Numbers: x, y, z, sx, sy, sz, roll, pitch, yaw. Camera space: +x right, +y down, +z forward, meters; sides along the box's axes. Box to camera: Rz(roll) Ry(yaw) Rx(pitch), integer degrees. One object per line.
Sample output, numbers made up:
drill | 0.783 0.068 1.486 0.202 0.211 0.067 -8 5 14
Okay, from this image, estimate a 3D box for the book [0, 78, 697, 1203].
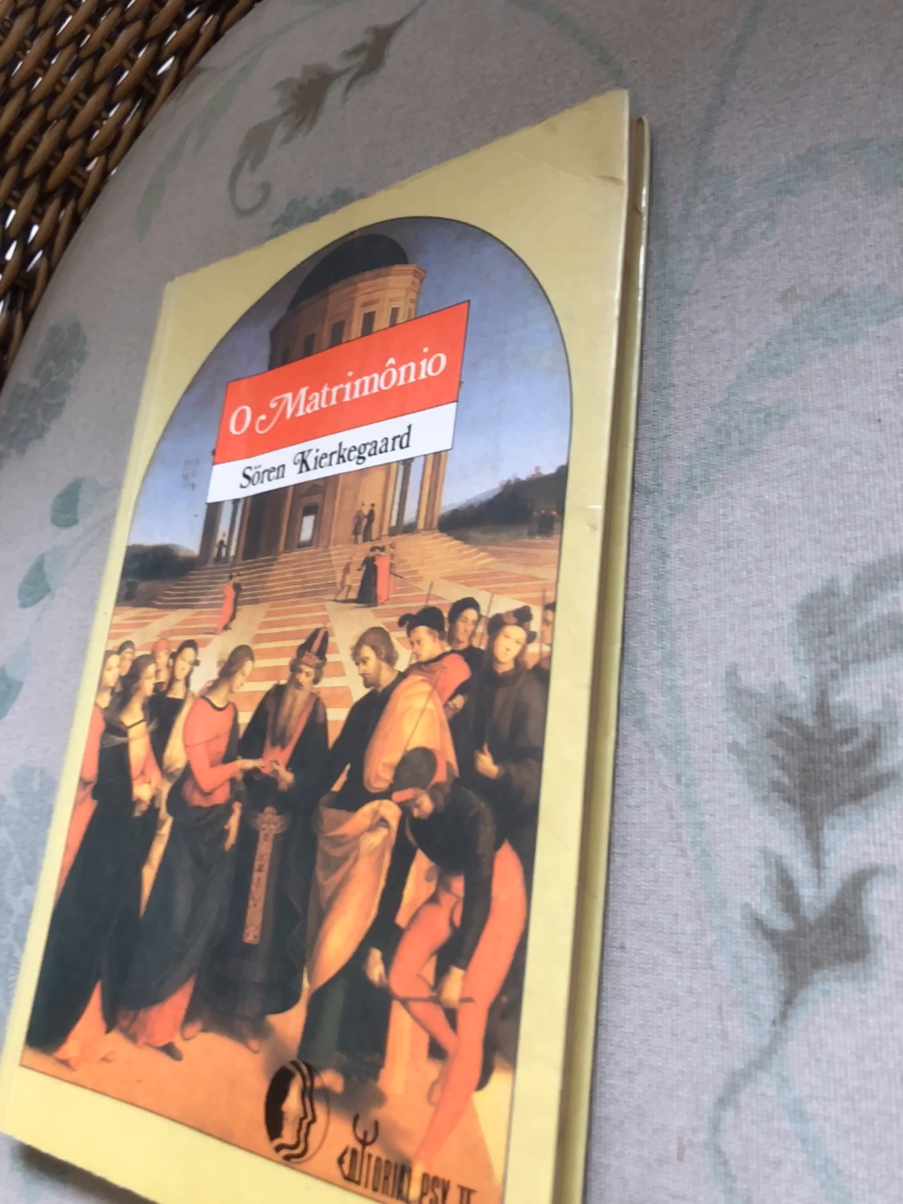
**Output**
book | -0.026 0.013 0.202 0.141 0.020 0.200 -5 72 38
